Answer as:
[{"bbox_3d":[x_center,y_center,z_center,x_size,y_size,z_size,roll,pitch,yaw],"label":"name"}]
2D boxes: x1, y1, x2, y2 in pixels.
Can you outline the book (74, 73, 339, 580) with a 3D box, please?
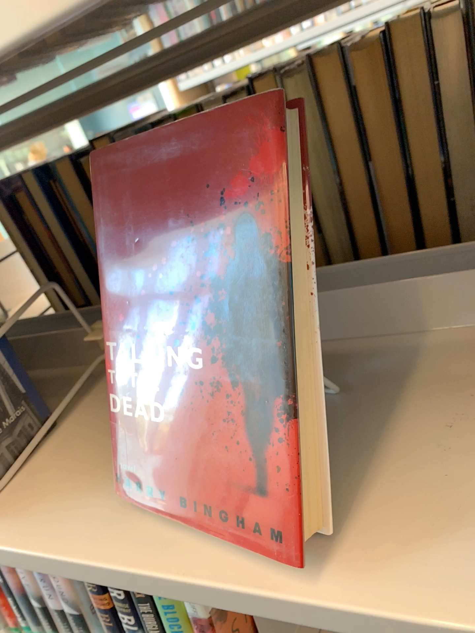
[{"bbox_3d":[-0.028,0.006,0.294,0.165,0.231,0.040,0,4,41],"label":"book"}]
